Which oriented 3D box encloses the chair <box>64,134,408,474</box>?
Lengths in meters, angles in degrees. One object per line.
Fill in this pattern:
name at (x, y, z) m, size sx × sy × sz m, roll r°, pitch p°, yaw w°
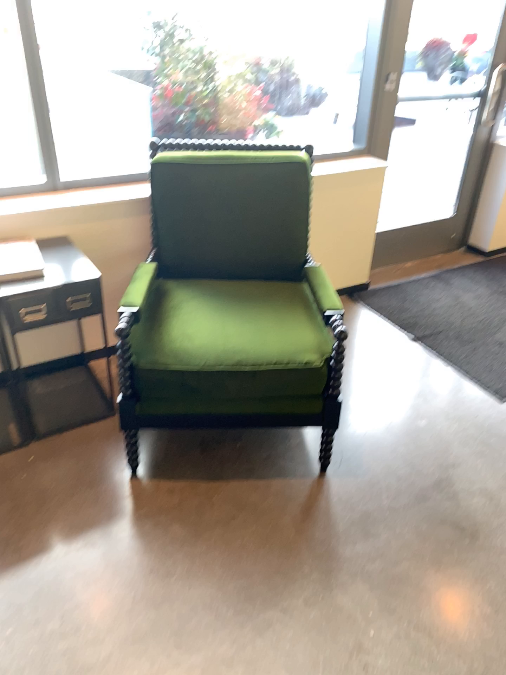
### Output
chair at (-0.069, -0.173, 1.950) m, size 0.870 × 0.924 × 0.946 m, roll 0°, pitch 32°, yaw -3°
